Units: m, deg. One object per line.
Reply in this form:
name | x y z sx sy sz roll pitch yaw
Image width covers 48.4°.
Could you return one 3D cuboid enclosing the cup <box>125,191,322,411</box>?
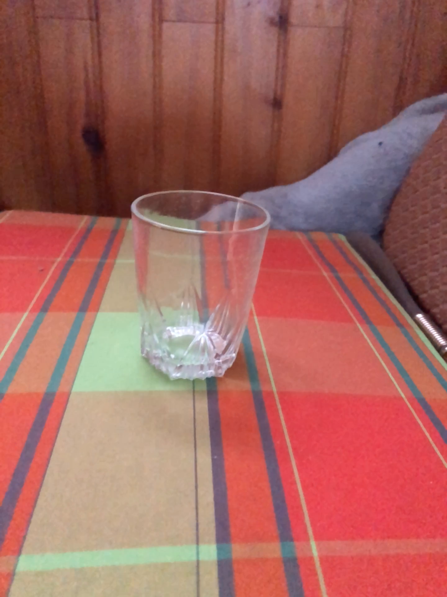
cup | -0.004 -0.004 0.252 0.070 0.080 0.070 2 25 -1
